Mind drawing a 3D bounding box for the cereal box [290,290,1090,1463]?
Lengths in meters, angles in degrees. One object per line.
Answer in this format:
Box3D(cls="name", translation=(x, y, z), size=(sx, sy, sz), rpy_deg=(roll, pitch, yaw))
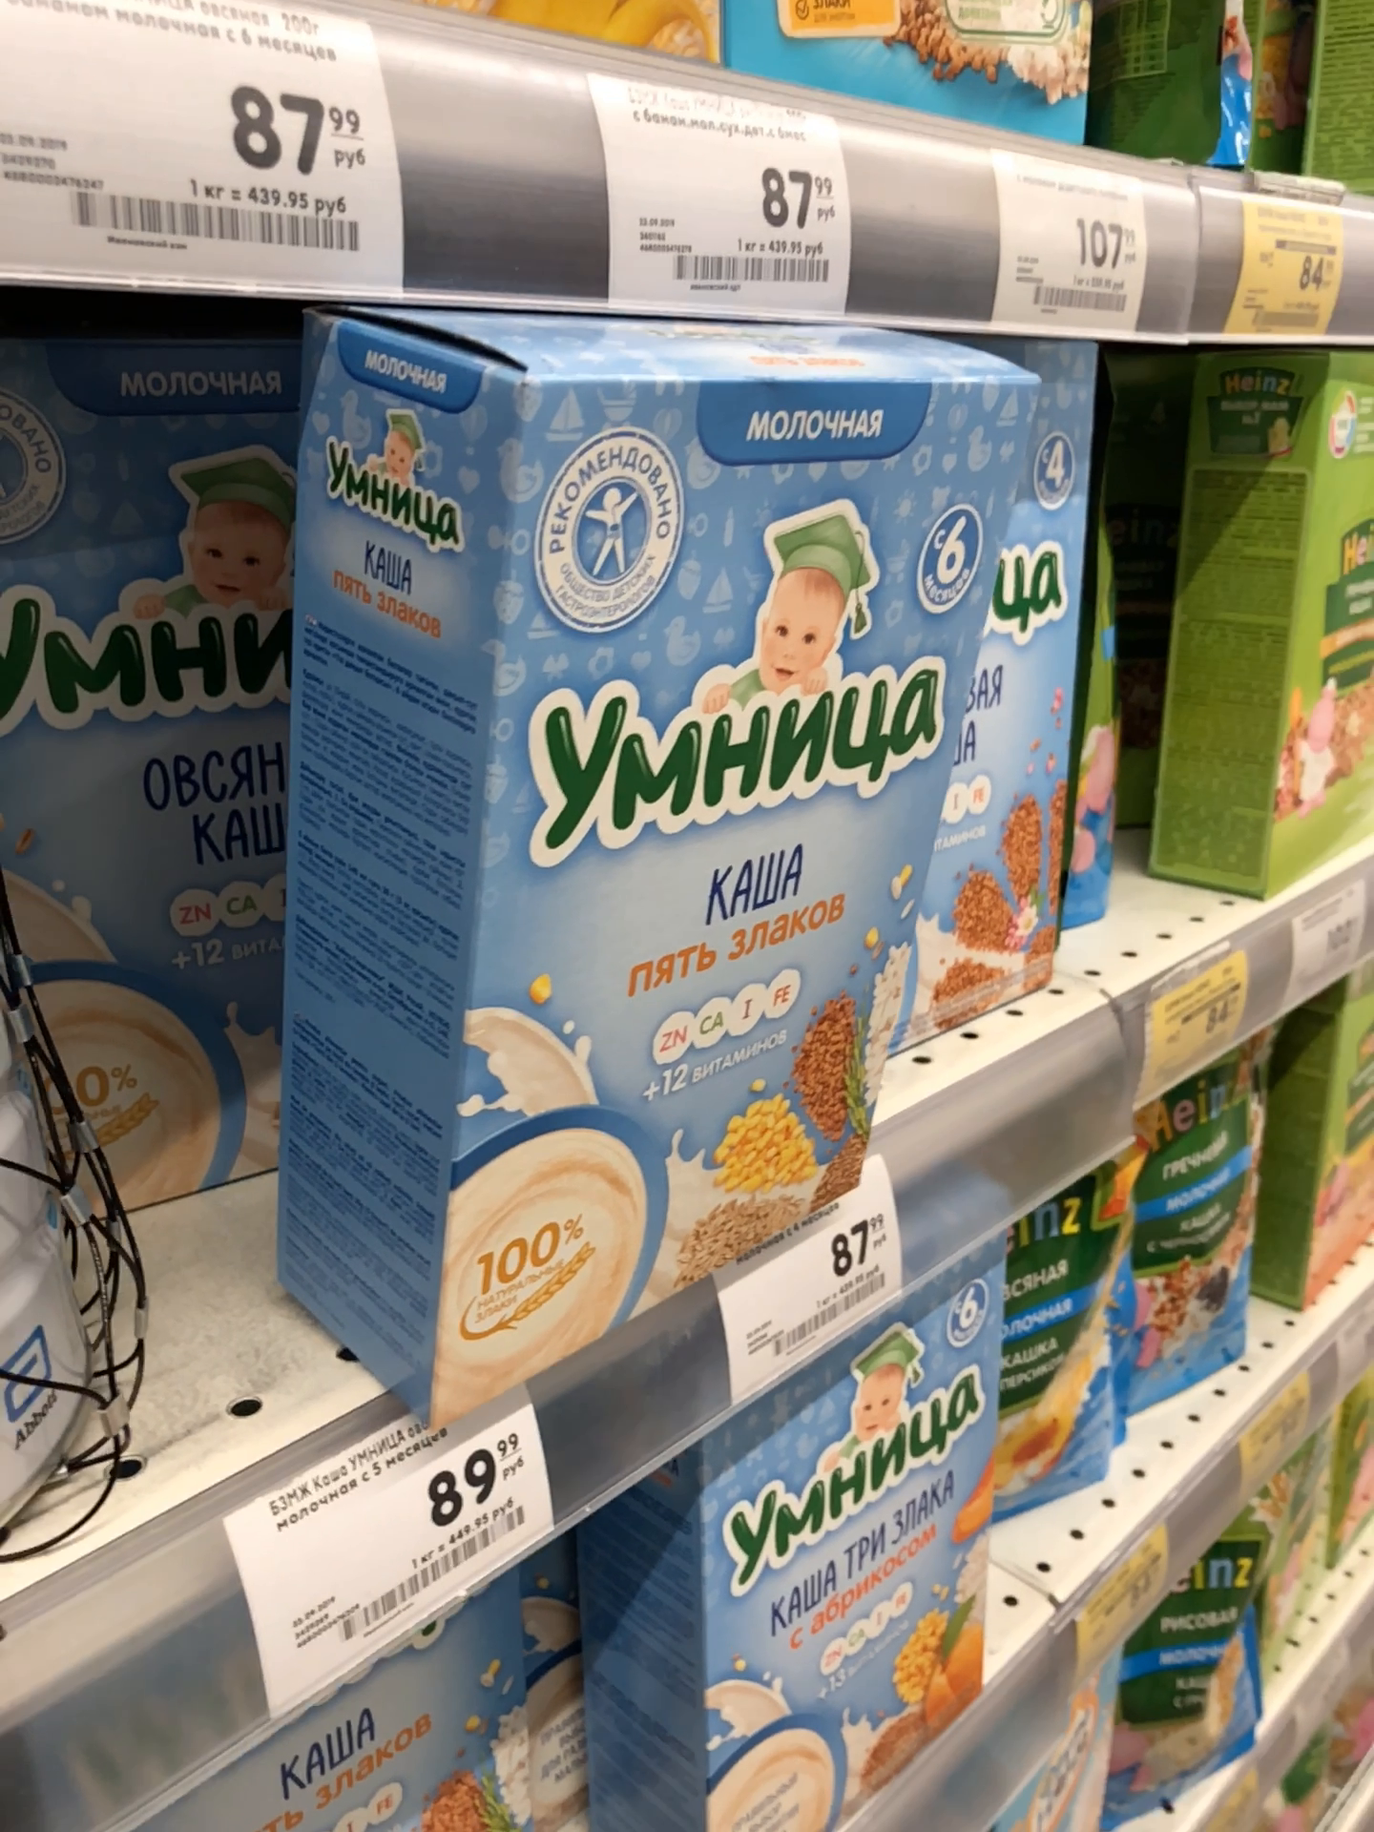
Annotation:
Box3D(cls="cereal box", translation=(-0.004, -0.013, 0.322), size=(0.060, 0.209, 0.140), rpy_deg=(30, 33, 36))
